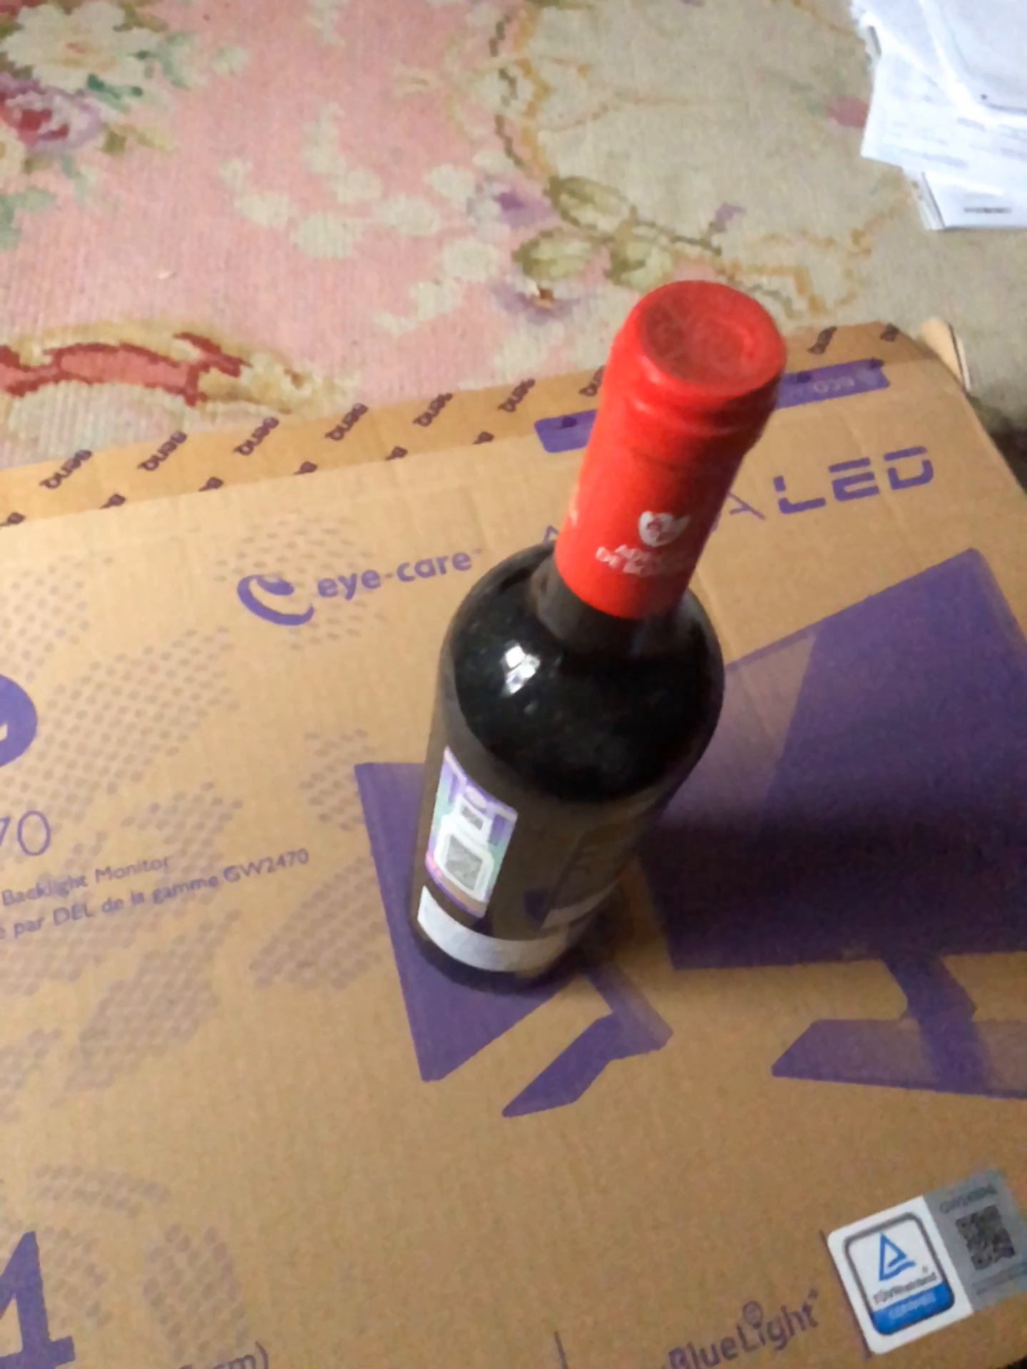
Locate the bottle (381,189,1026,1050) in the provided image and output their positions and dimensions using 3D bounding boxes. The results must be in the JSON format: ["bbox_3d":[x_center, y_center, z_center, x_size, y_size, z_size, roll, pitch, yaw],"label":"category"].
[{"bbox_3d":[0.017,0.022,0.318,0.090,0.299,0.090,3,64,-5],"label":"bottle"}]
